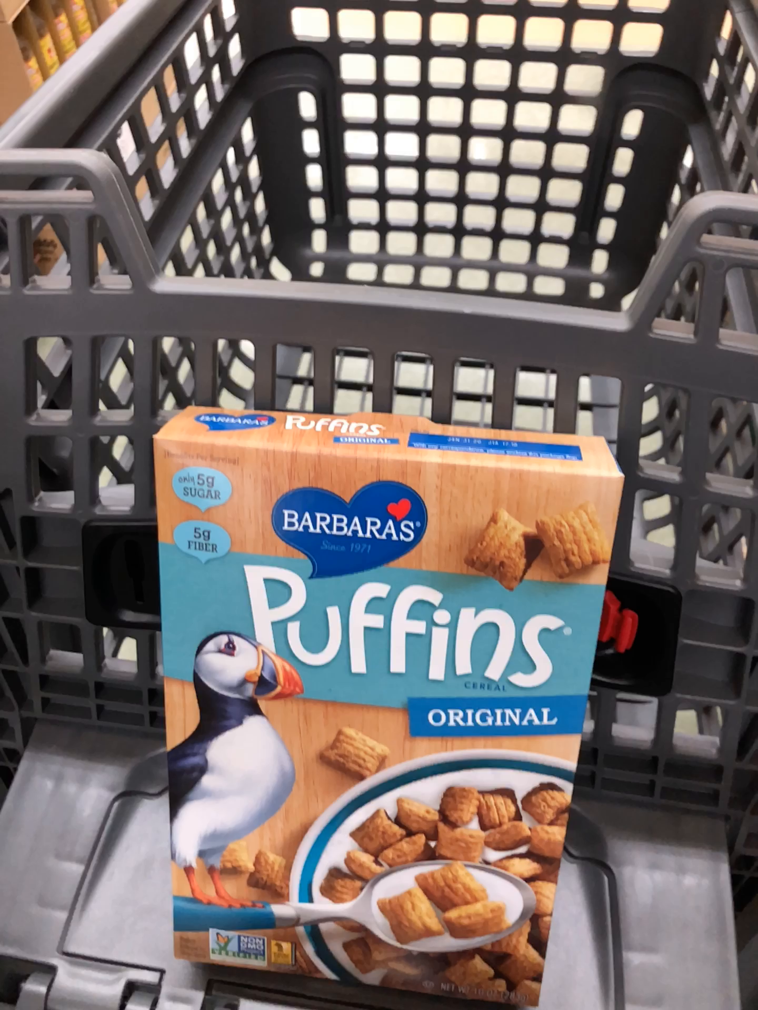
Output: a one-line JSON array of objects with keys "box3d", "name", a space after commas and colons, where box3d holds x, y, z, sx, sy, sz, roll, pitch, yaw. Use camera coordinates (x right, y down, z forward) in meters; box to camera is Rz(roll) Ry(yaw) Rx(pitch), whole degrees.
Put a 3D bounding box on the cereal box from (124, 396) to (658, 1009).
[{"box3d": [-0.002, 0.093, 0.367, 0.190, 0.260, 0.050, 5, 21, 5], "name": "cereal box"}]
